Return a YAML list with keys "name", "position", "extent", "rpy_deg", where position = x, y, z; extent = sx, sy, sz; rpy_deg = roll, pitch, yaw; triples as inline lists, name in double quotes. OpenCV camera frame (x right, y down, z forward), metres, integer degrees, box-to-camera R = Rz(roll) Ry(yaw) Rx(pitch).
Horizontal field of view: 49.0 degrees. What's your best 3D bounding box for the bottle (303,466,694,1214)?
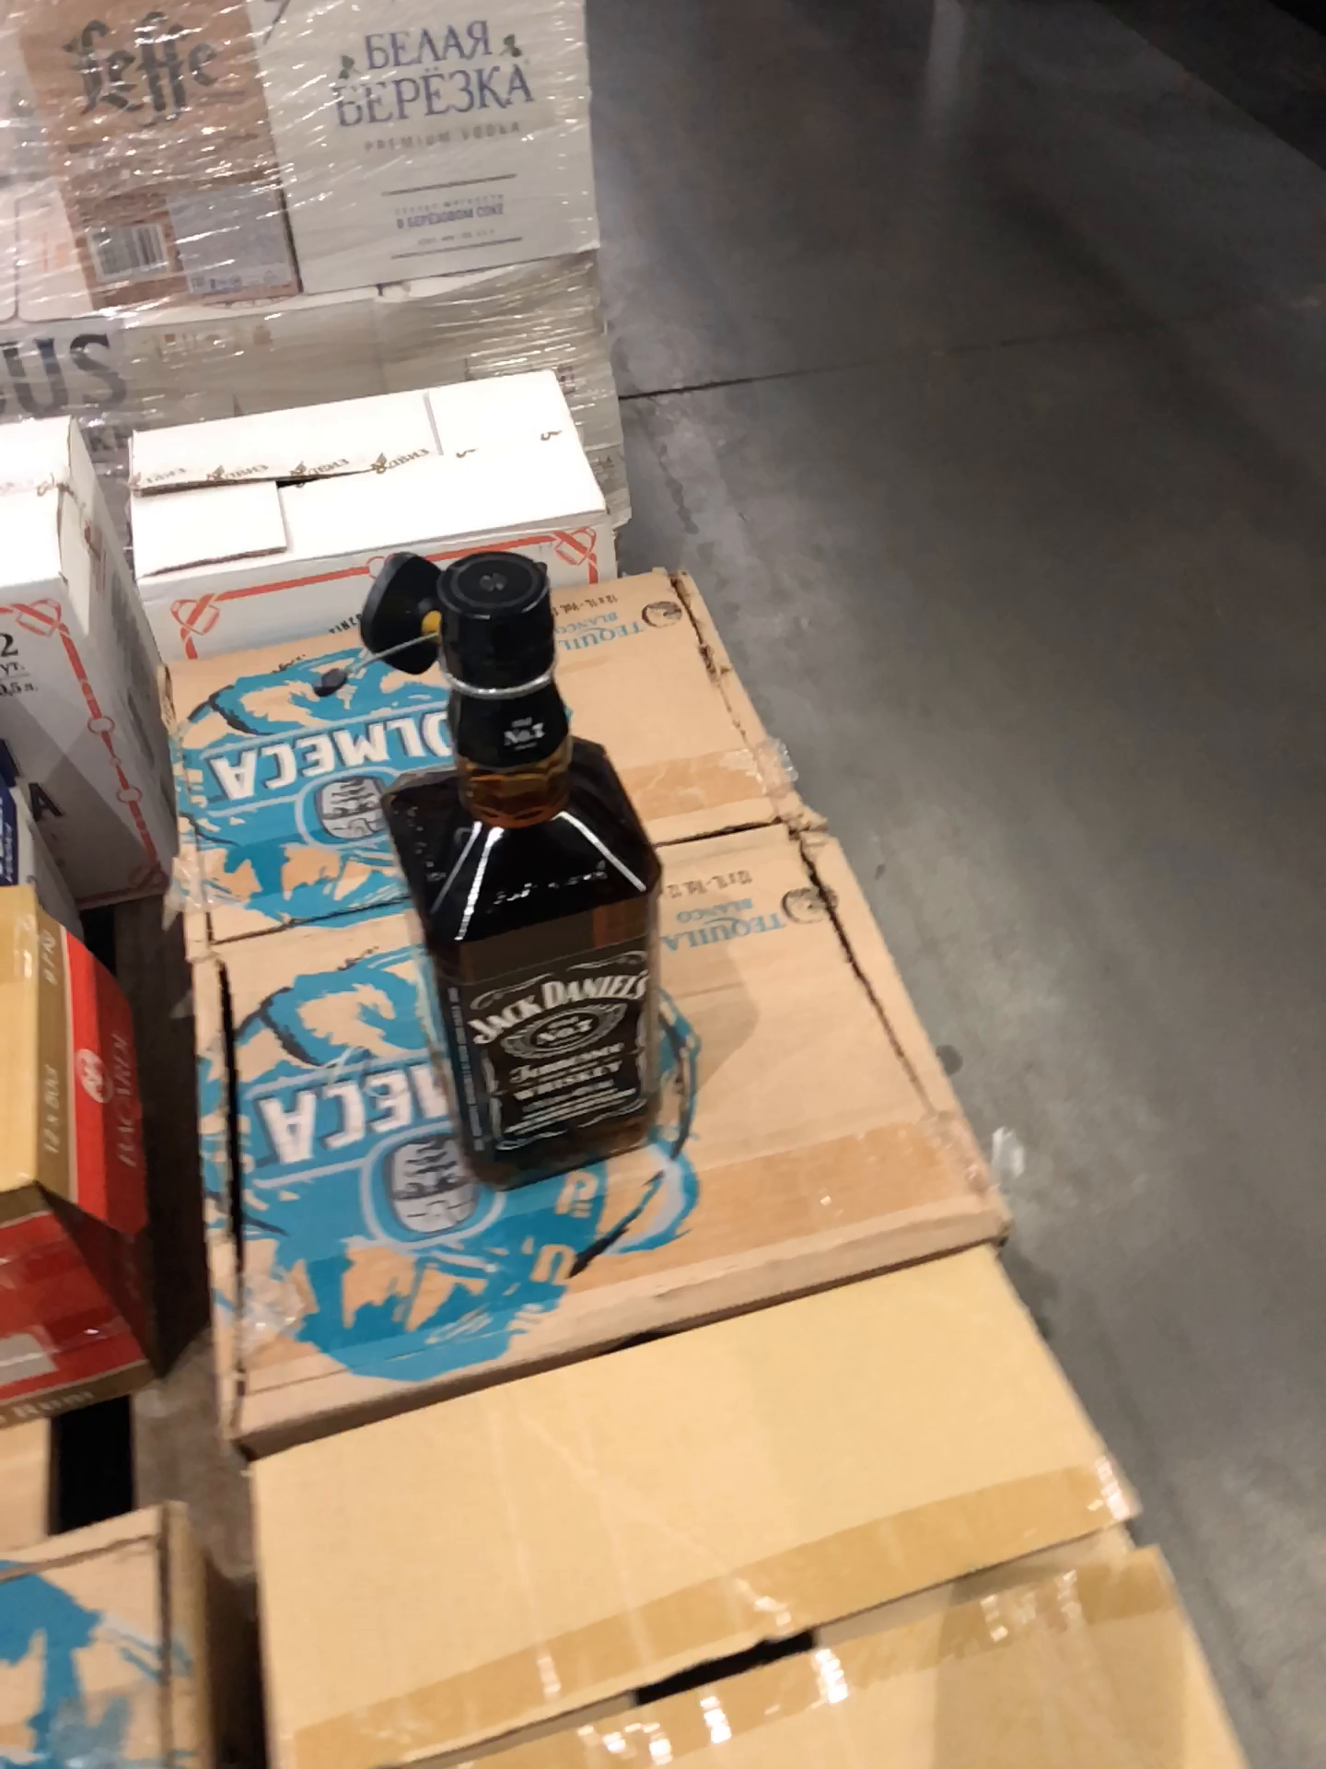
- name: "bottle"
  position: [-0.059, -0.002, 0.618]
  extent: [0.110, 0.308, 0.111]
  rpy_deg: [0, 47, 0]
